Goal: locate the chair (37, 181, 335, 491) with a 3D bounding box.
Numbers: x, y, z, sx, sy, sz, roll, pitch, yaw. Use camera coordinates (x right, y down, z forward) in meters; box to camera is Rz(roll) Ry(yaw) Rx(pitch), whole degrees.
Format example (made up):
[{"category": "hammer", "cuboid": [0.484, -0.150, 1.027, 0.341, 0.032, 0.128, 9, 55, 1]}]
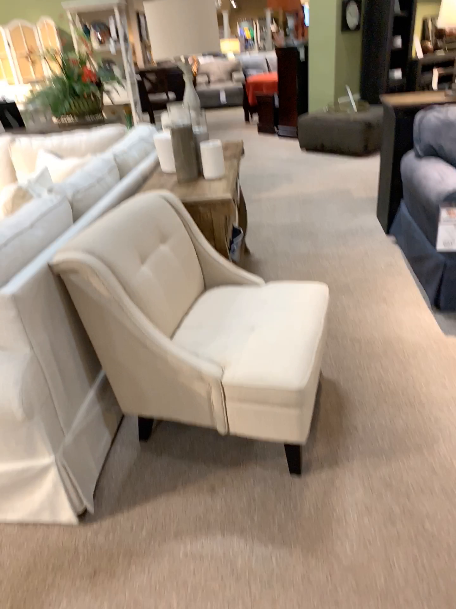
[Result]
[{"category": "chair", "cuboid": [-0.043, 0.048, 1.705, 0.771, 0.800, 0.716, 4, 31, 17]}]
